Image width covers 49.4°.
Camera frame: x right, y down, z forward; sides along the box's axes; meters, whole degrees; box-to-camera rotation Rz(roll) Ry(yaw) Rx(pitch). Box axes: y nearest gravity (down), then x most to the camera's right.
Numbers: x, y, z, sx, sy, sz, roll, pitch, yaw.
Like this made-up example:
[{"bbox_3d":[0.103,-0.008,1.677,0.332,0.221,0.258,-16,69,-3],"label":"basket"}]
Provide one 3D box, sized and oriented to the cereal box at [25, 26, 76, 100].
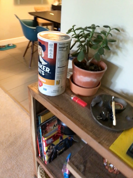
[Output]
[{"bbox_3d":[-0.070,-0.110,0.612,0.141,0.248,0.140,-19,42,-30],"label":"cereal box"}]
